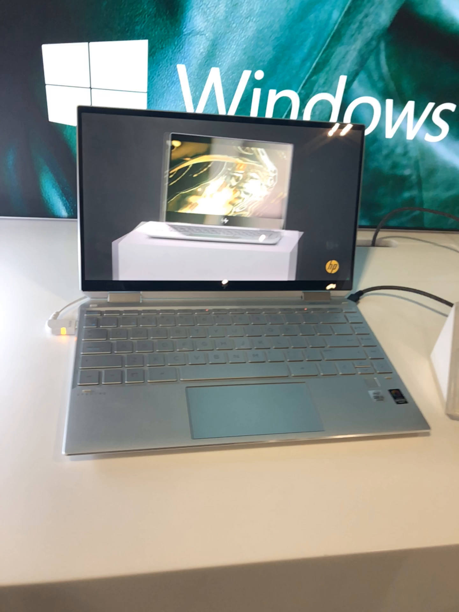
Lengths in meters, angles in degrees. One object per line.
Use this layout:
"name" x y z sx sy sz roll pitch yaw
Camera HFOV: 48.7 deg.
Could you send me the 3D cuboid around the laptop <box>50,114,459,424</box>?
"laptop" 0.011 -0.043 0.450 0.281 0.194 0.241 0 30 -13
